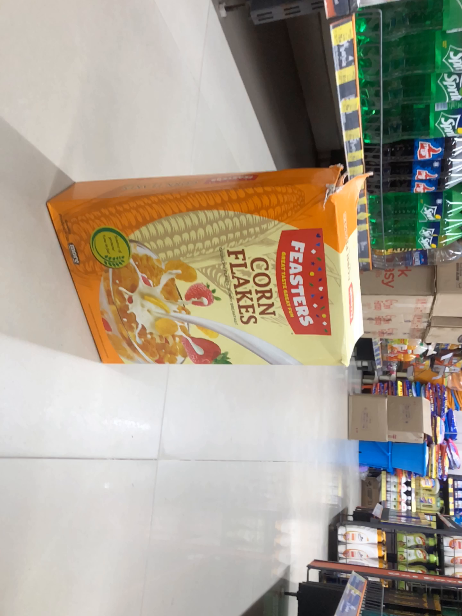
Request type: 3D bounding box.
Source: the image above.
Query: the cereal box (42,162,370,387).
[{"bbox_3d":[-0.012,-0.020,0.480,0.060,0.269,0.190,-70,153,-58],"label":"cereal box"}]
